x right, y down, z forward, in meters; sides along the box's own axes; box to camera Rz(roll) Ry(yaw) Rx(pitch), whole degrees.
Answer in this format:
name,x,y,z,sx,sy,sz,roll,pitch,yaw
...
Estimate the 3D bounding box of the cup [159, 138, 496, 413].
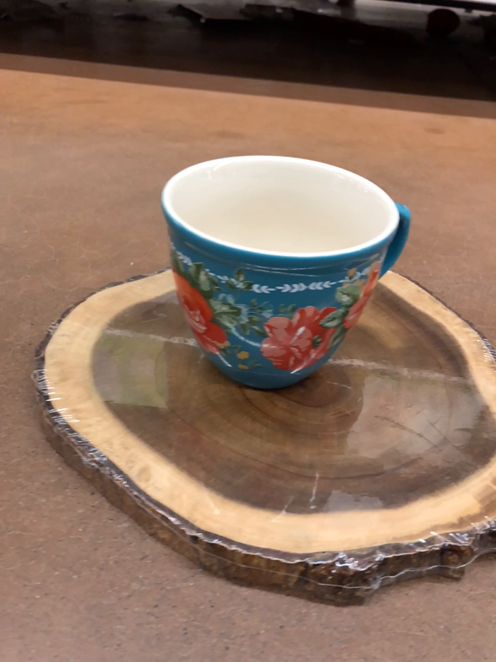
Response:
name,x,y,z,sx,sy,sz,roll,pitch,yaw
cup,0.032,-0.035,0.272,0.130,0.080,0.100,-9,39,-17
